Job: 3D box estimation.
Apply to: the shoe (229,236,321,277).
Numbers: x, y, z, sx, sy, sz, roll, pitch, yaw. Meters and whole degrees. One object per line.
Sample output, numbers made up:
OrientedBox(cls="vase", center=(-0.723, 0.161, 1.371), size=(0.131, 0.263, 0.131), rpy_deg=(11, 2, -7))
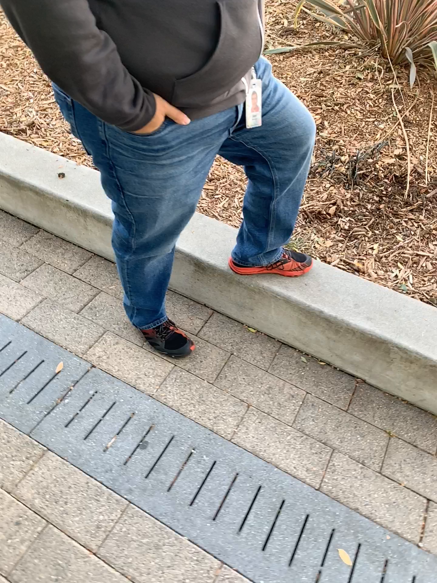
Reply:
OrientedBox(cls="shoe", center=(0.199, -0.127, 1.618), size=(0.310, 0.080, 0.122), rpy_deg=(1, 45, -6))

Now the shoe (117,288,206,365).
OrientedBox(cls="shoe", center=(-0.213, 0.124, 1.640), size=(0.306, 0.080, 0.137), rpy_deg=(30, 49, 22))
